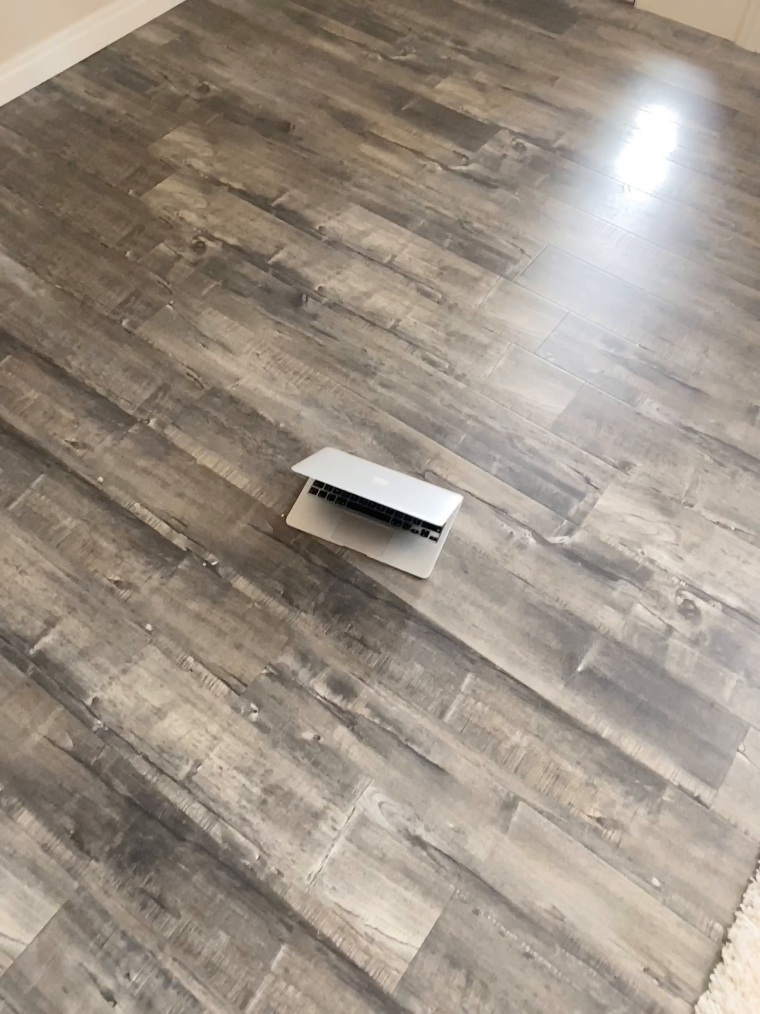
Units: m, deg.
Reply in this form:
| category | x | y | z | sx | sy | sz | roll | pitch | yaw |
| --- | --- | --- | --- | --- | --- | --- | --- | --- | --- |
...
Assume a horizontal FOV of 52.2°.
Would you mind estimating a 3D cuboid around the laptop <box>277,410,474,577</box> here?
| category | x | y | z | sx | sy | sz | roll | pitch | yaw |
| --- | --- | --- | --- | --- | --- | --- | --- | --- | --- |
| laptop | -0.005 | -0.025 | 1.312 | 0.270 | 0.113 | 0.173 | 21 | 59 | 11 |
